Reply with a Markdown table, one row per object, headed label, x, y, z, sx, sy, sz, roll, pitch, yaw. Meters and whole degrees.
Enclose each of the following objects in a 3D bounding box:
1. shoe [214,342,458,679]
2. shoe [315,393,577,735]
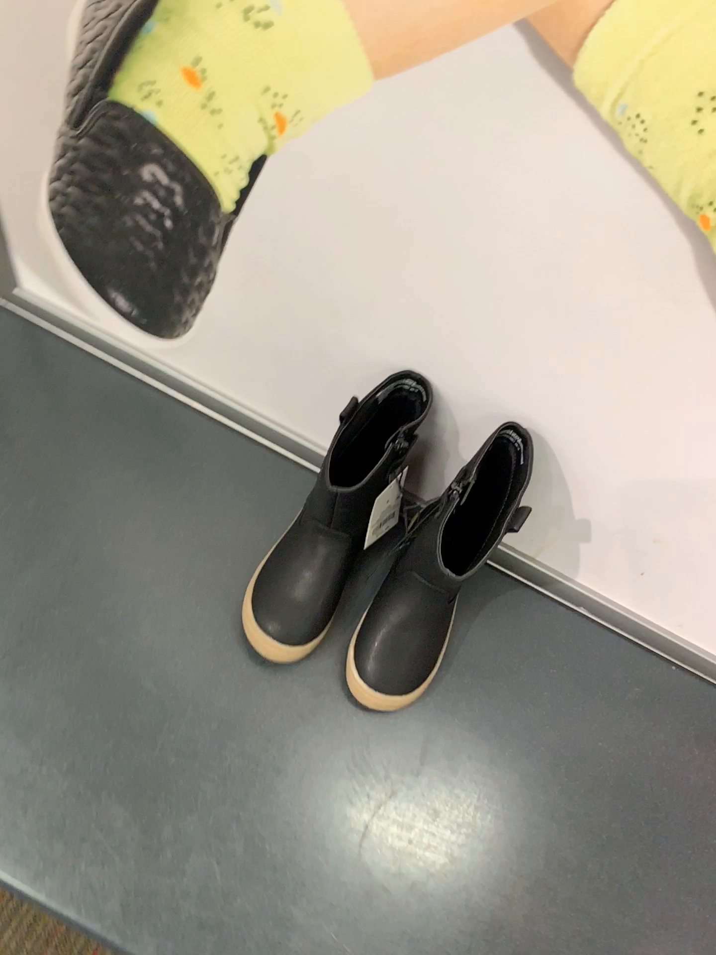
| label | x | y | z | sx | sy | sz | roll | pitch | yaw |
| --- | --- | --- | --- | --- | --- | --- | --- | --- | --- |
| shoe | -0.024 | 0.035 | 0.586 | 0.080 | 0.199 | 0.191 | 30 | 60 | 4 |
| shoe | 0.061 | 0.075 | 0.570 | 0.080 | 0.199 | 0.191 | 28 | 60 | 3 |
